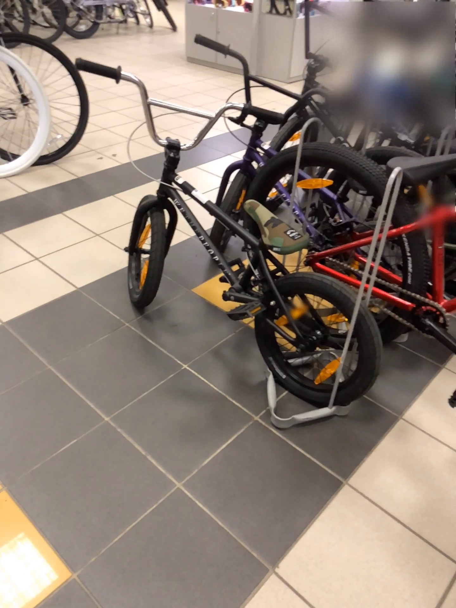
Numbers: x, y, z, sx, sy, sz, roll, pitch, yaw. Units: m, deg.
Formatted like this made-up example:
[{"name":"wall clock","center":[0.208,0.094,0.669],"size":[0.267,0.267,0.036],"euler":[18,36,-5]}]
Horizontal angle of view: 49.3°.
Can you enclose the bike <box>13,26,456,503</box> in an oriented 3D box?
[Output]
[{"name":"bike","center":[0.019,-0.242,1.448],"size":[0.678,0.809,1.075],"euler":[-26,46,-35]}]
